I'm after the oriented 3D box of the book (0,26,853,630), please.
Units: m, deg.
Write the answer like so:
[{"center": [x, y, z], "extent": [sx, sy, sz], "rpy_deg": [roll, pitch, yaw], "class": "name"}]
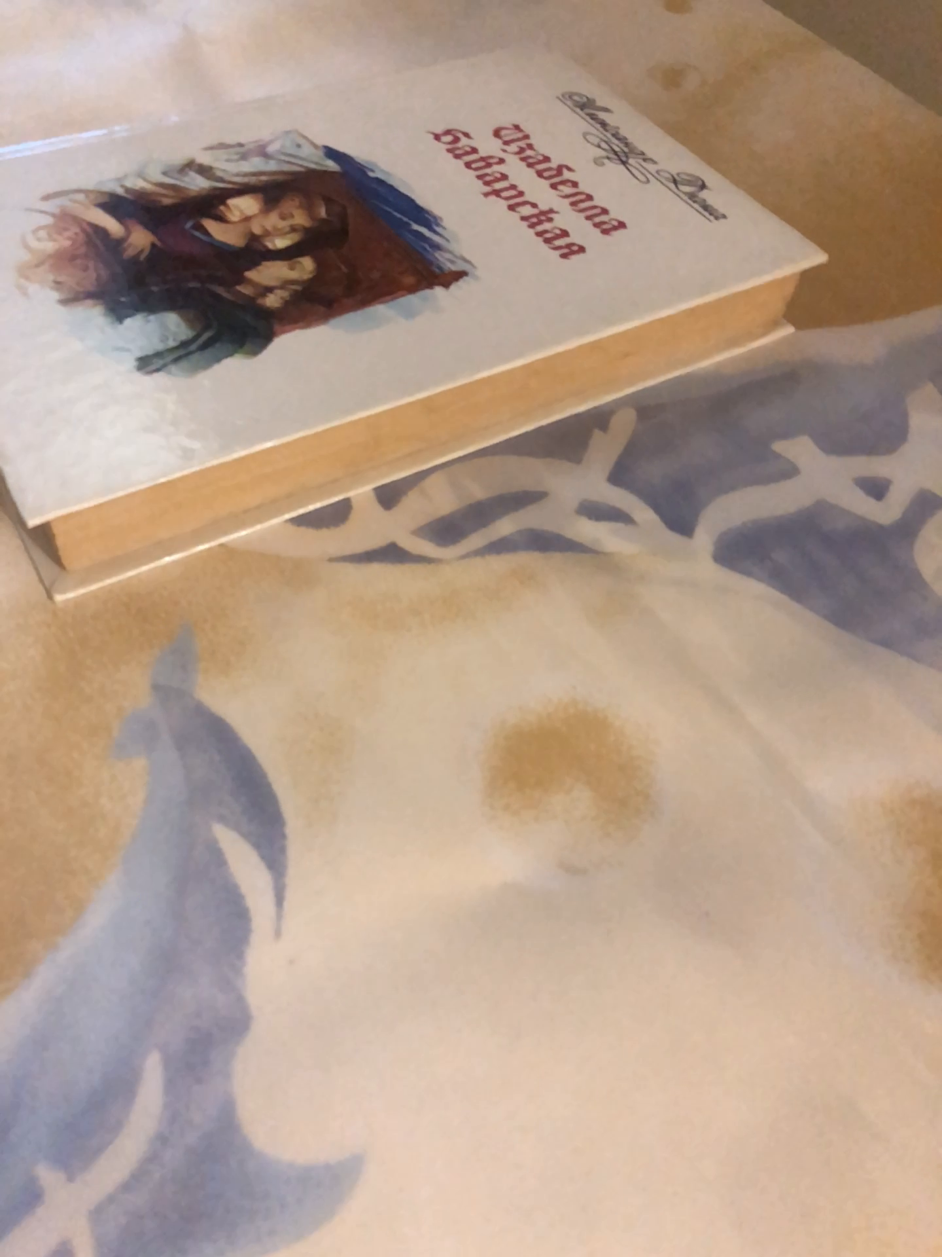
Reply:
[{"center": [-0.030, -0.095, 0.268], "extent": [0.209, 0.026, 0.140], "rpy_deg": [-24, 57, -22], "class": "book"}]
